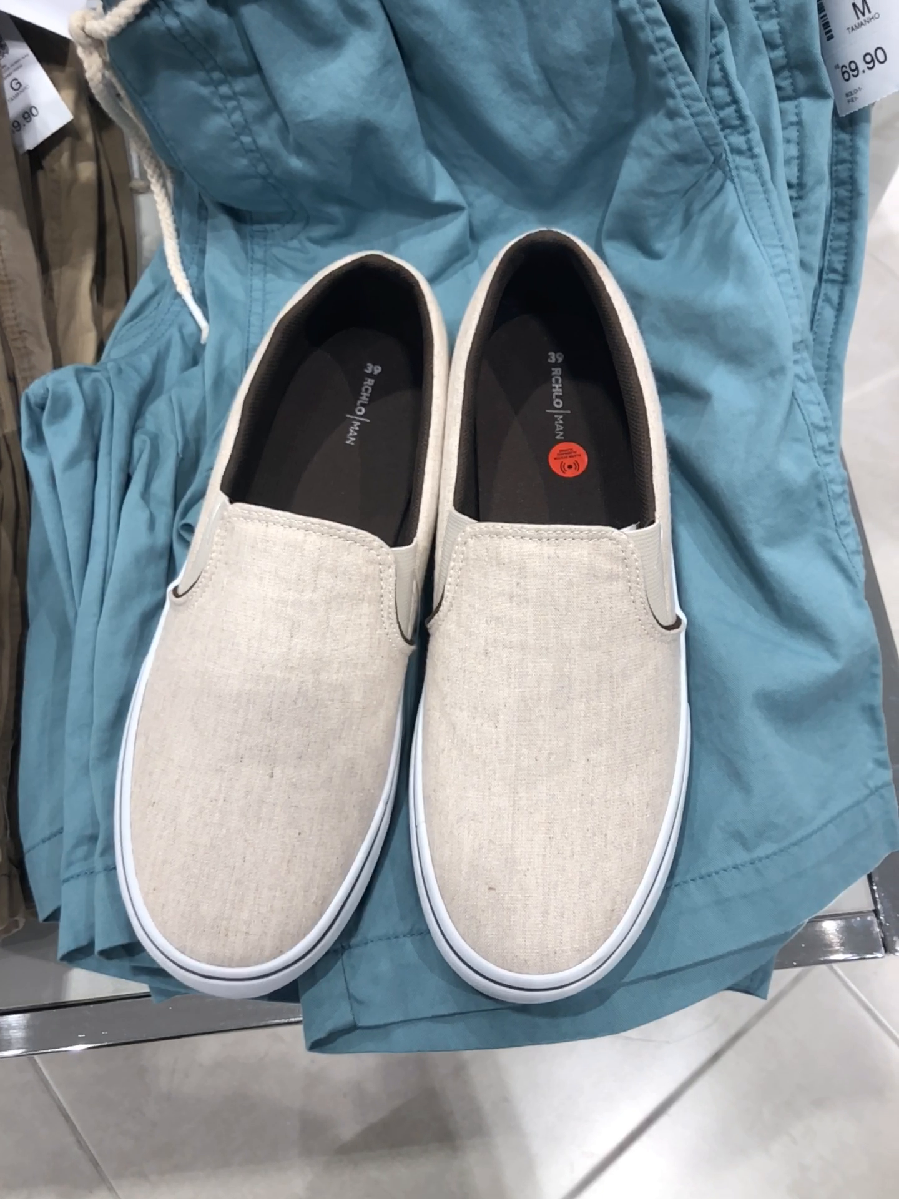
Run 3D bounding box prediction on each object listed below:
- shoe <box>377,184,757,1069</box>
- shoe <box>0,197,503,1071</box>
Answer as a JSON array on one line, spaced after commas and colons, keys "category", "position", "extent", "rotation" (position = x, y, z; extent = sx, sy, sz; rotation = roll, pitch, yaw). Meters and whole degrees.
[{"category": "shoe", "position": [0.038, 0.004, 0.335], "extent": [0.100, 0.090, 0.260], "rotation": [2, 78, 3]}, {"category": "shoe", "position": [-0.053, 0.006, 0.351], "extent": [0.100, 0.090, 0.260], "rotation": [9, 78, 6]}]
